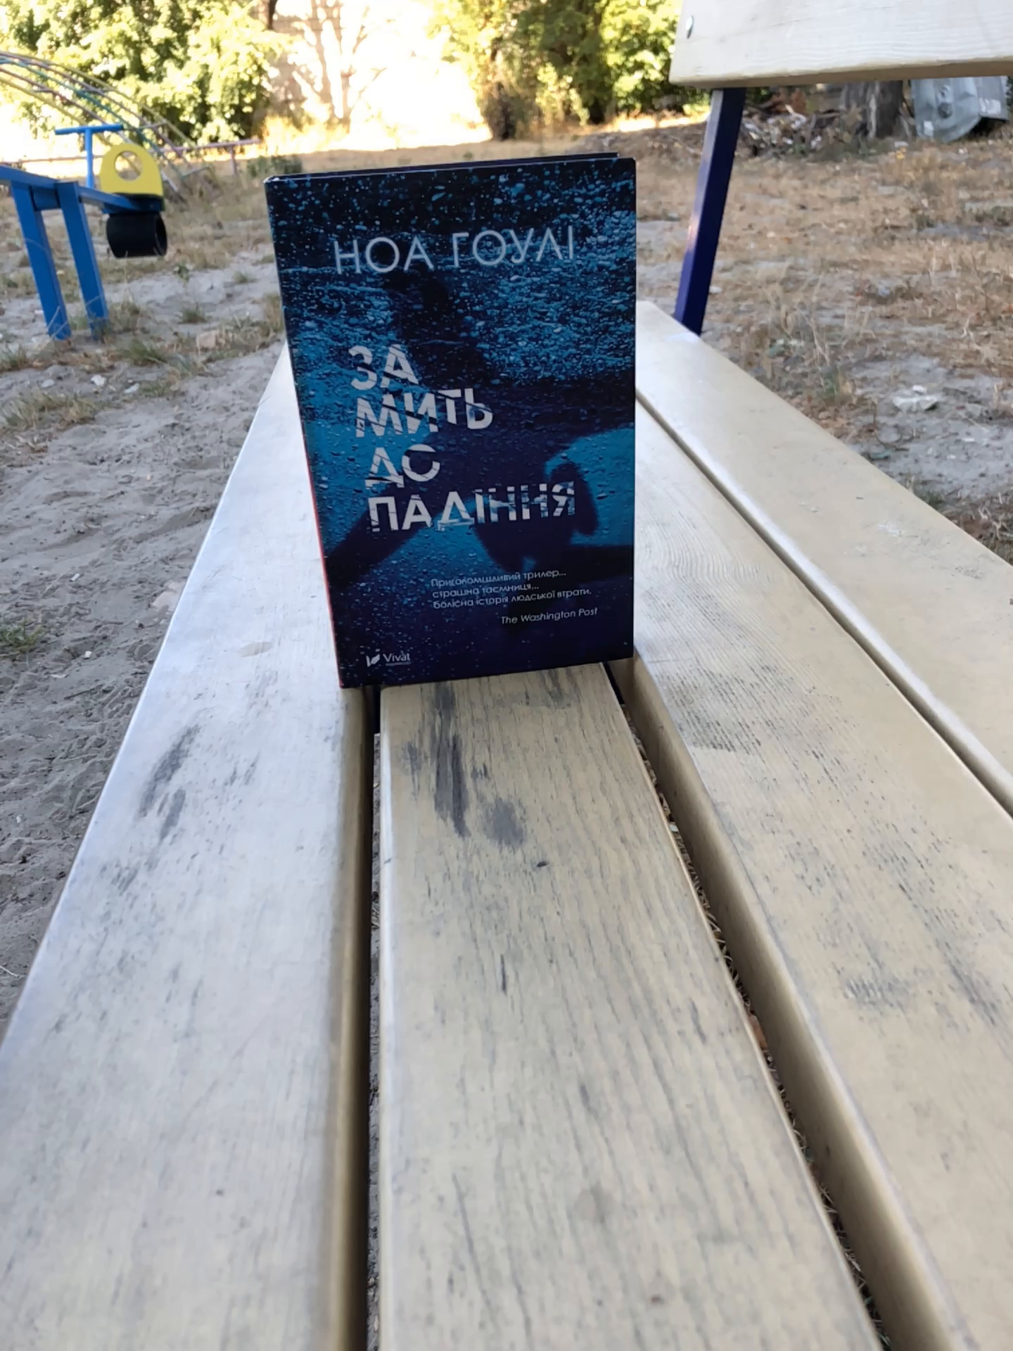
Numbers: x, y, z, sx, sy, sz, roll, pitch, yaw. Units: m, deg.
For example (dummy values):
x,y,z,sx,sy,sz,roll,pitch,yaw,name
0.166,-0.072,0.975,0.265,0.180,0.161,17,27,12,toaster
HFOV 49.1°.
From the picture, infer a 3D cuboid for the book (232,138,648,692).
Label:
x,y,z,sx,sy,sz,roll,pitch,yaw,name
-0.018,-0.097,0.441,0.140,0.199,0.040,-6,28,-3,book
